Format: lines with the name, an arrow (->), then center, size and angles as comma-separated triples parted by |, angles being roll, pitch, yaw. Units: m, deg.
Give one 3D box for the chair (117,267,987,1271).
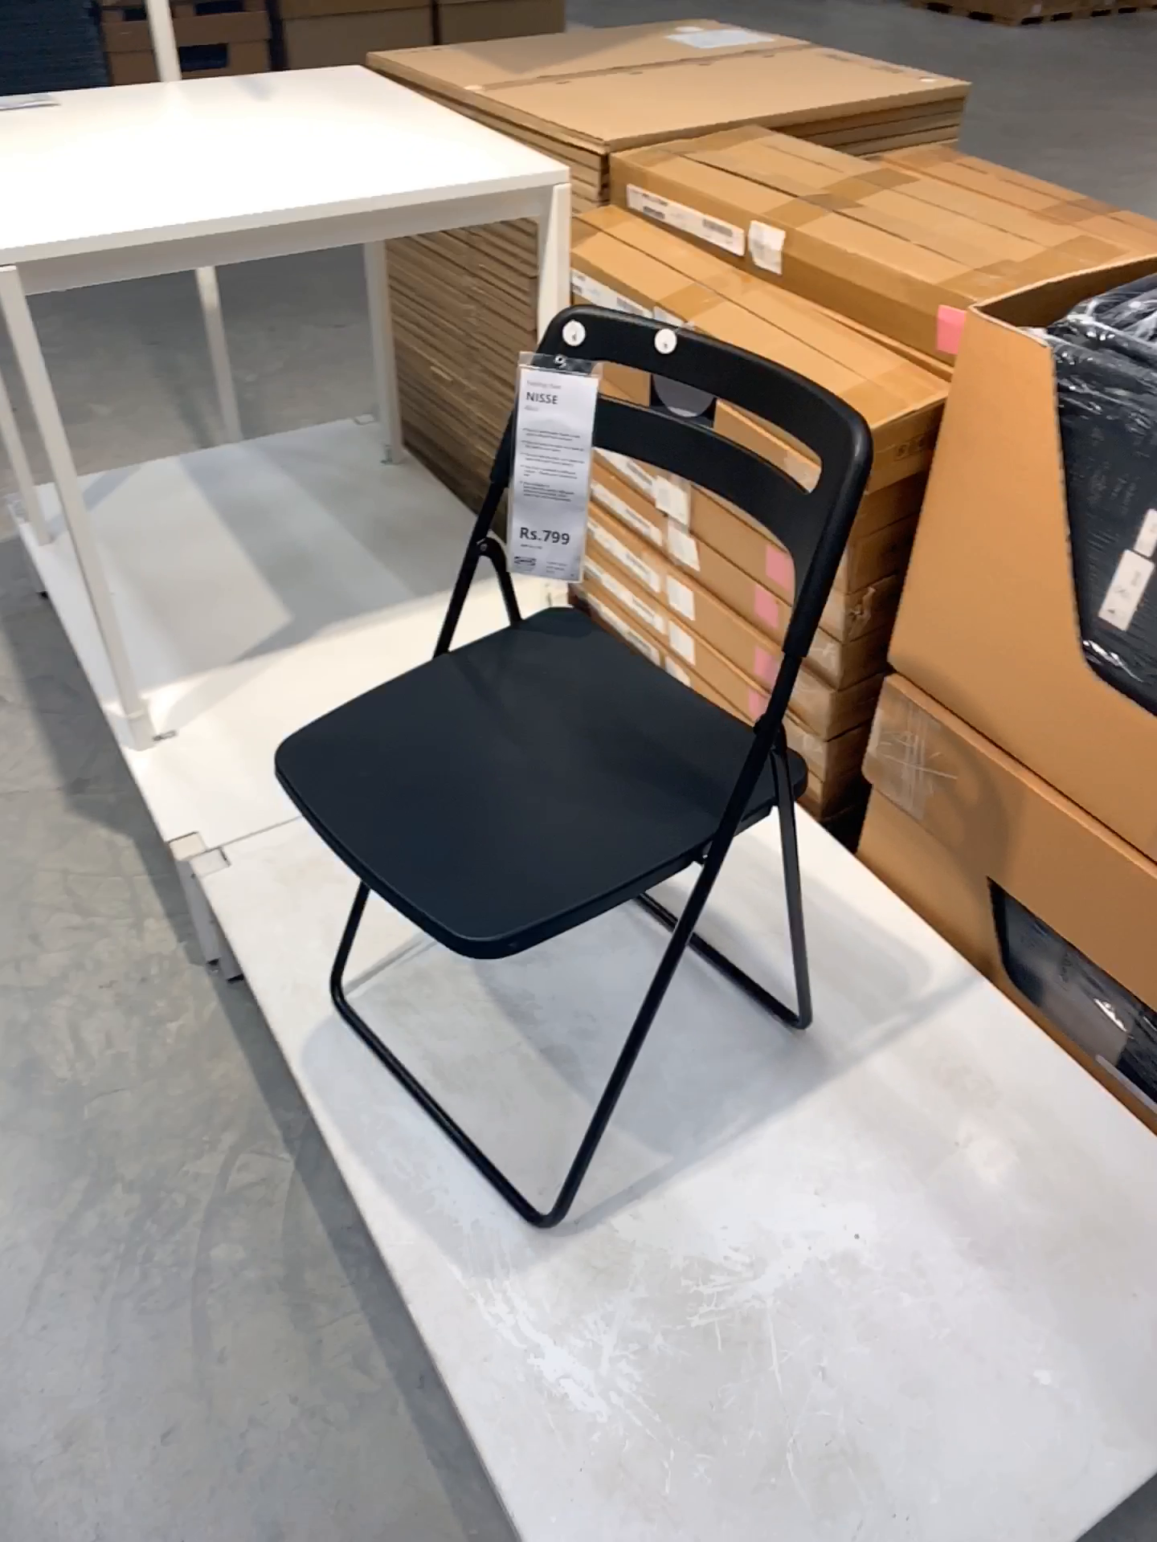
chair -> -0.030, -0.016, 1.082 | 0.451, 0.657, 0.461 | -29, 48, -30
